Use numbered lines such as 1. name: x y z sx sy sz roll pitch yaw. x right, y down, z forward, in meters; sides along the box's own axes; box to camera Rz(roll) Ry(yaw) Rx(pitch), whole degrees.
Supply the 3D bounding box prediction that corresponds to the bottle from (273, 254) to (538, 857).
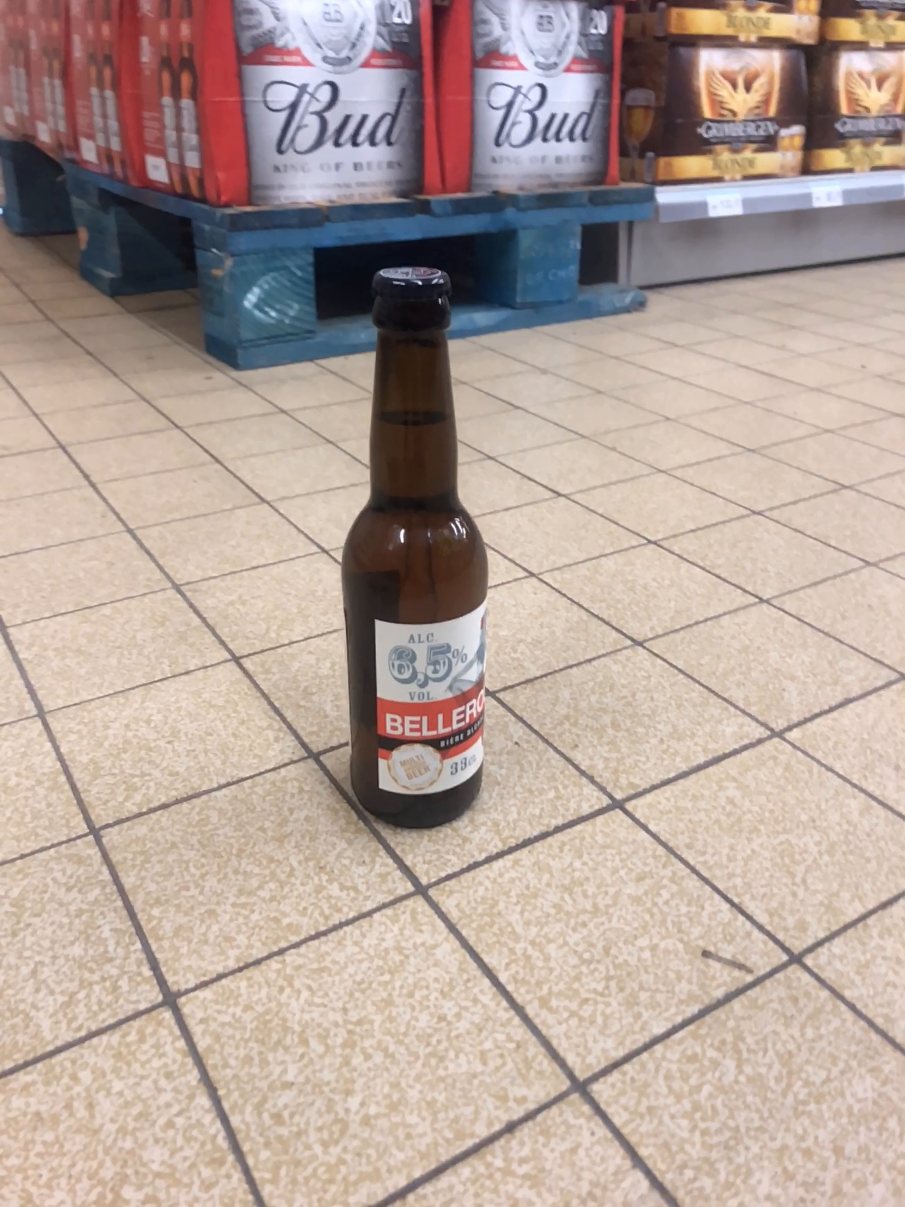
1. bottle: -0.017 -0.016 0.393 0.060 0.219 0.070 -24 36 -39
